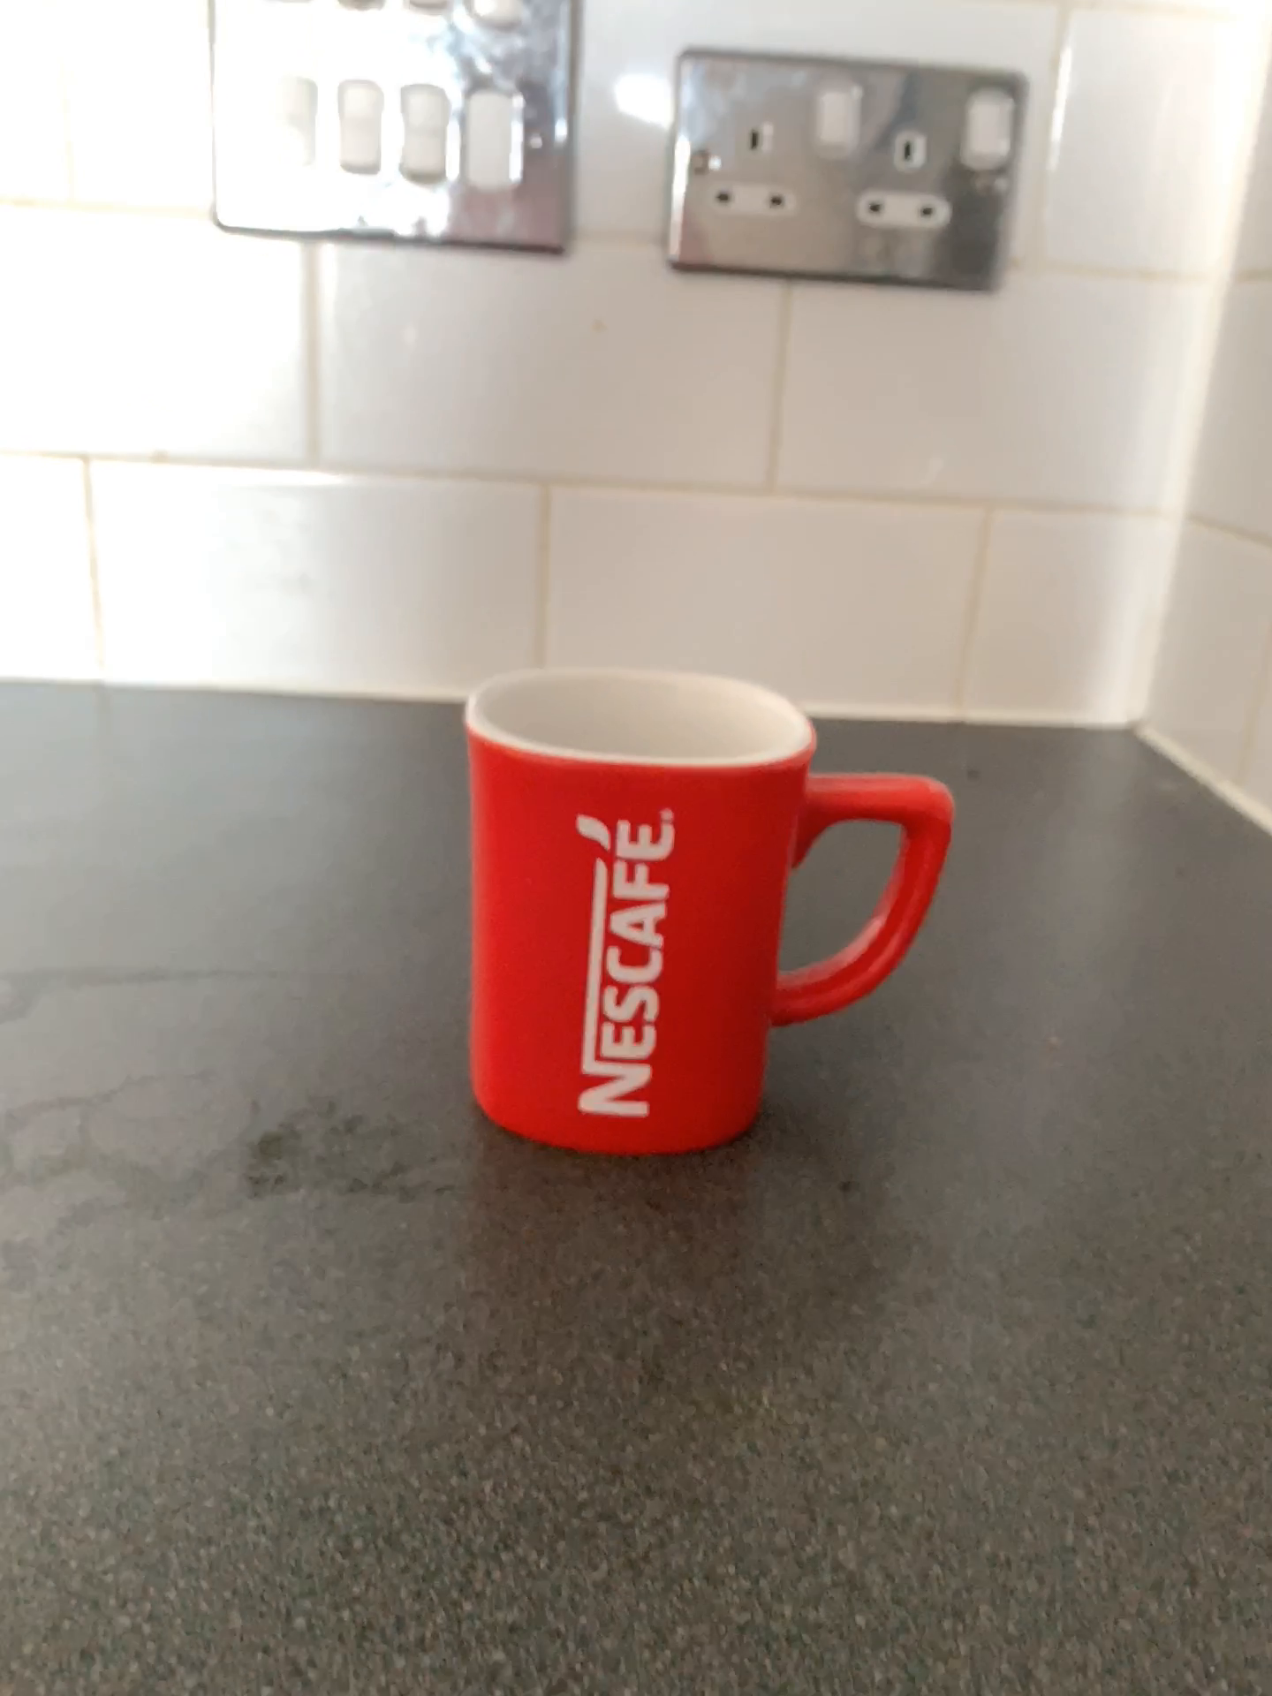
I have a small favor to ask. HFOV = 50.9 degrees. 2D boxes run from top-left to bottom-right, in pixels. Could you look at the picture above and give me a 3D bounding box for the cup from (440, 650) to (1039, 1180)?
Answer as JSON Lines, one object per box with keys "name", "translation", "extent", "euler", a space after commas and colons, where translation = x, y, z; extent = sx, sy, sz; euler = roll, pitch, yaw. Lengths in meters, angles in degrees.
{"name": "cup", "translation": [0.018, 0.012, 0.297], "extent": [0.112, 0.092, 0.067], "euler": [3, 20, -1]}
